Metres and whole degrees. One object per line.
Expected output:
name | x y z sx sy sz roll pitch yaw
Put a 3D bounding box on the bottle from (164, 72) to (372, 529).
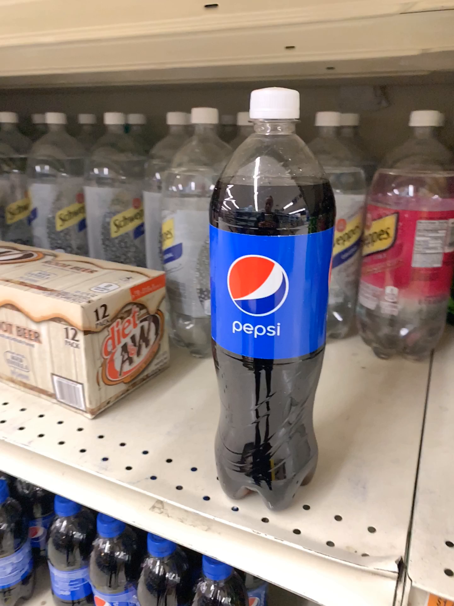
bottle | 0.028 0.000 0.328 0.101 0.279 0.090 9 21 21
